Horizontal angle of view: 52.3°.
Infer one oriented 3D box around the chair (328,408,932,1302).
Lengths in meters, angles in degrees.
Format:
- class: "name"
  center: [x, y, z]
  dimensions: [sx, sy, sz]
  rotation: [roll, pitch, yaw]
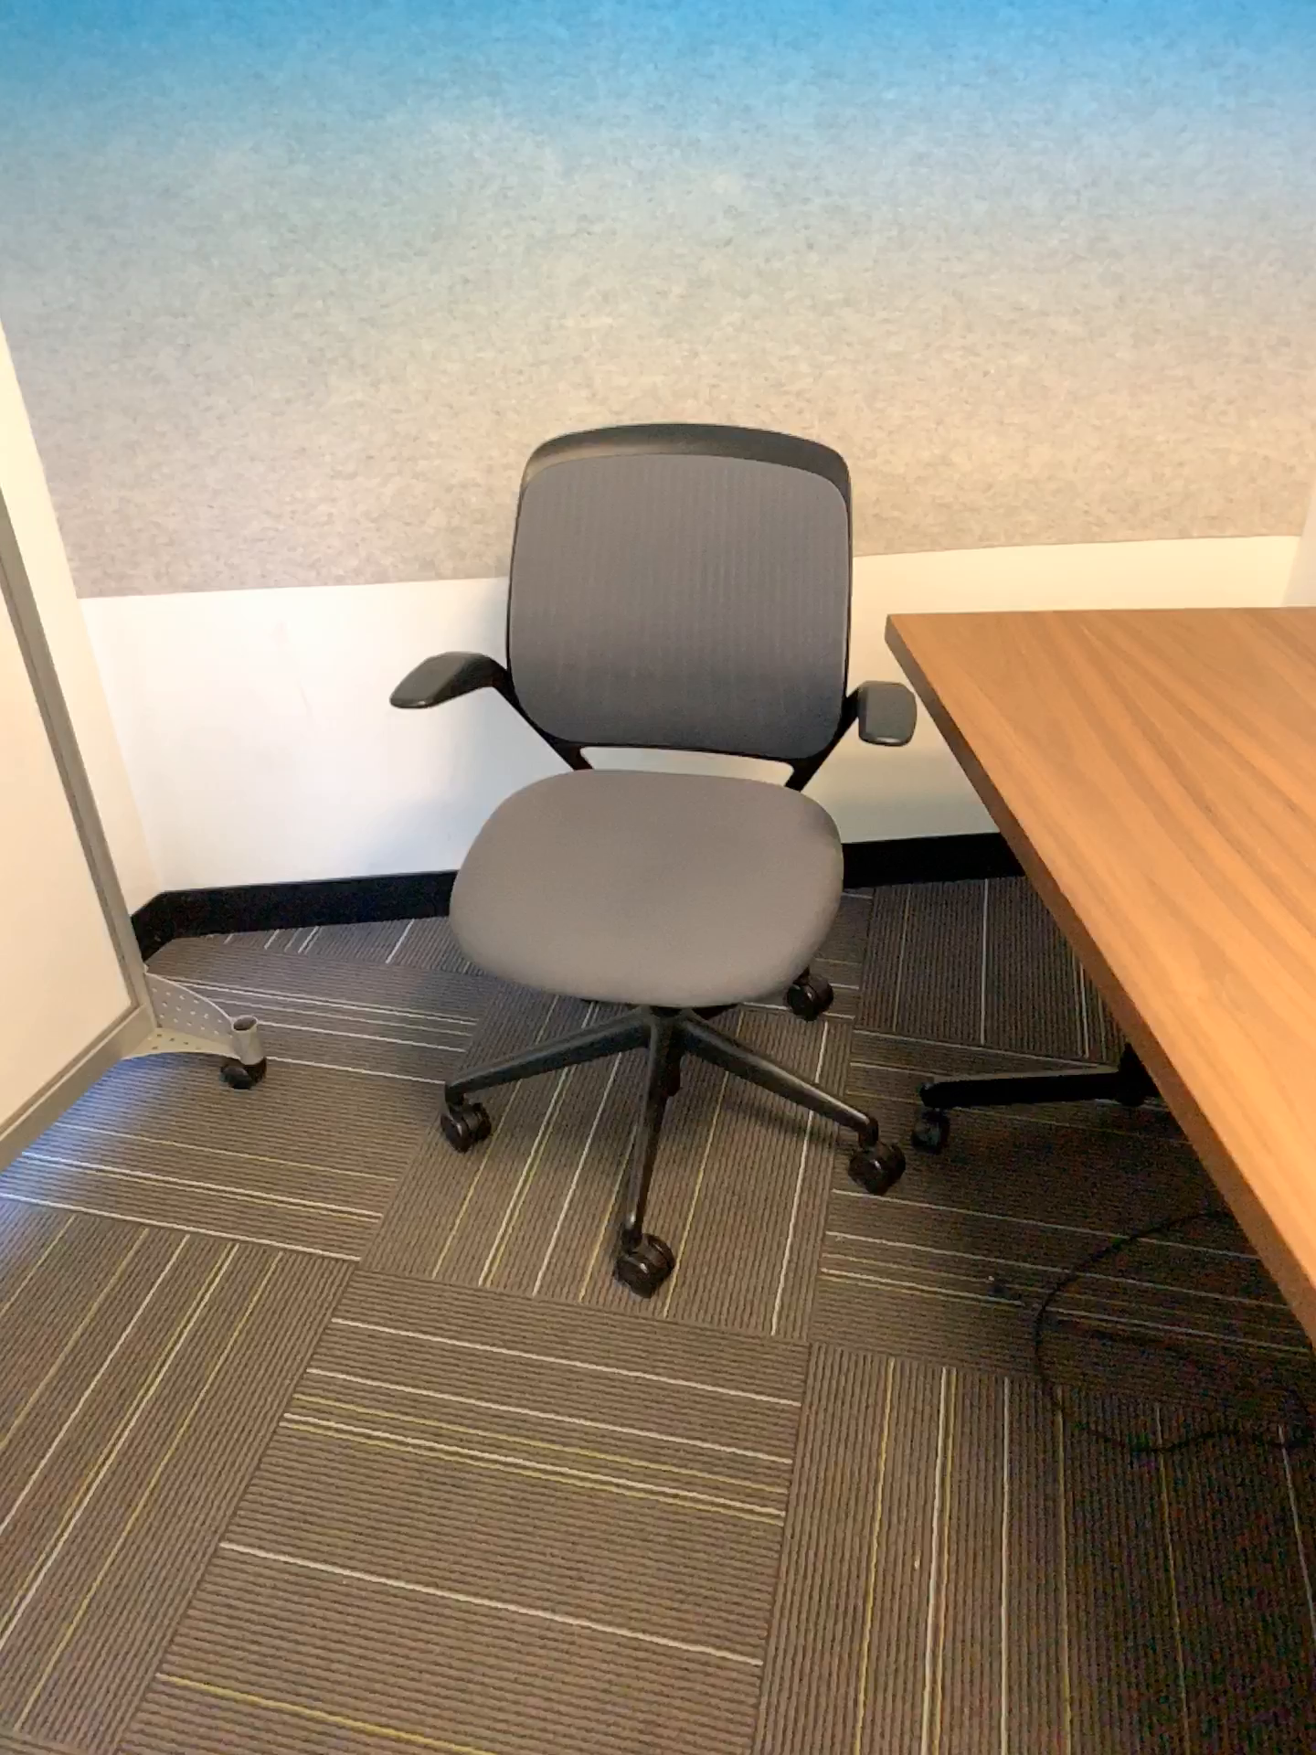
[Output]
- class: "chair"
  center: [0.004, -0.039, 1.710]
  dimensions: [0.541, 0.934, 0.533]
  rotation: [8, 32, 12]
